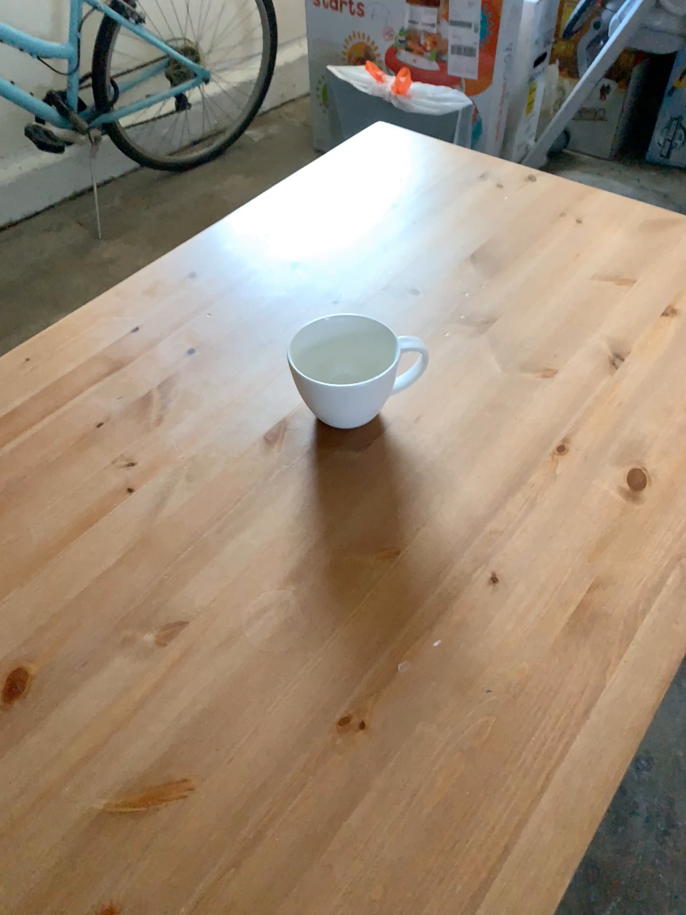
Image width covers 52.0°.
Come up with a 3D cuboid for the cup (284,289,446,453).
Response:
[{"bbox_3d":[0.021,-0.087,0.703,0.130,0.100,0.090,-16,50,-11],"label":"cup"}]
